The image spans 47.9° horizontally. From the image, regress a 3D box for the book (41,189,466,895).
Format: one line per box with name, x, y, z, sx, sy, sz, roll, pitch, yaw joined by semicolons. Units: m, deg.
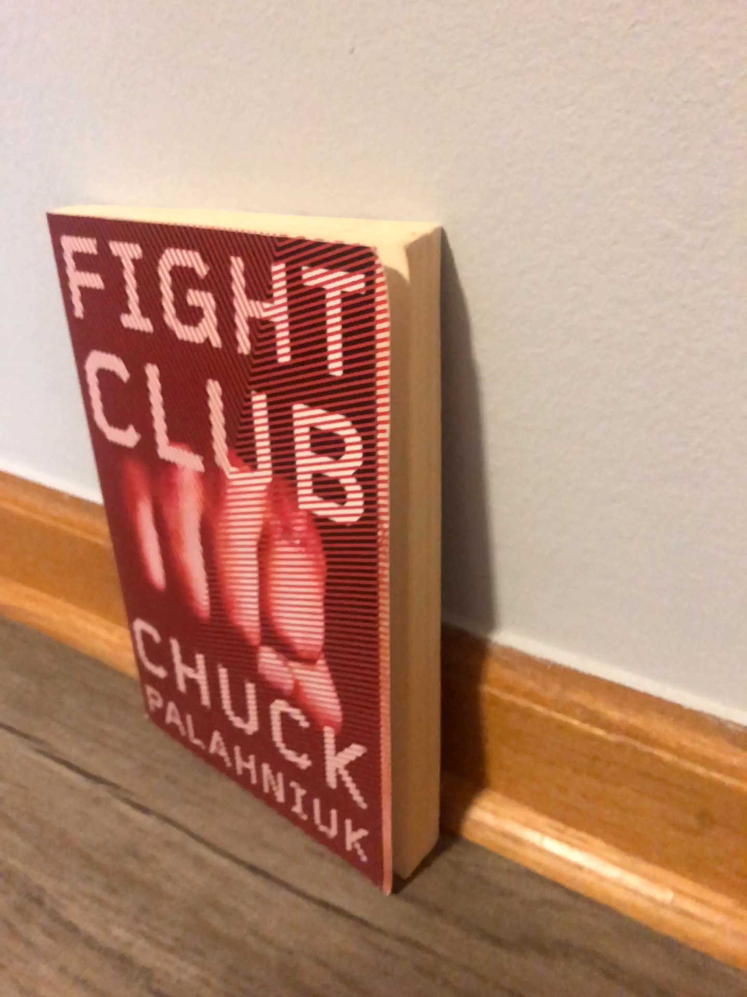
book;-0.037;0.014;0.281;0.138;0.210;0.030;19;34;35
